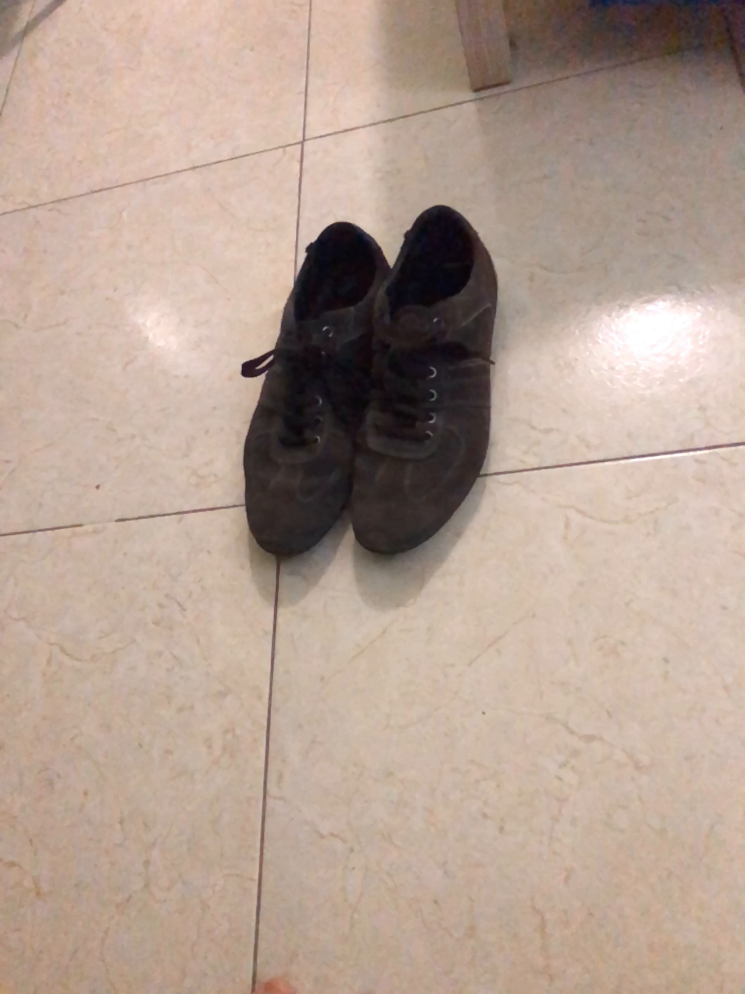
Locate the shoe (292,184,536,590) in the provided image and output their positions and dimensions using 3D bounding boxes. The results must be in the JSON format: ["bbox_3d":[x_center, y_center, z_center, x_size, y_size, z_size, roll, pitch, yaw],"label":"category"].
[{"bbox_3d":[0.045,-0.093,0.655,0.110,0.110,0.300,6,66,21],"label":"shoe"}]

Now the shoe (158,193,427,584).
[{"bbox_3d":[-0.053,-0.094,0.683,0.120,0.110,0.300,5,66,20],"label":"shoe"}]
